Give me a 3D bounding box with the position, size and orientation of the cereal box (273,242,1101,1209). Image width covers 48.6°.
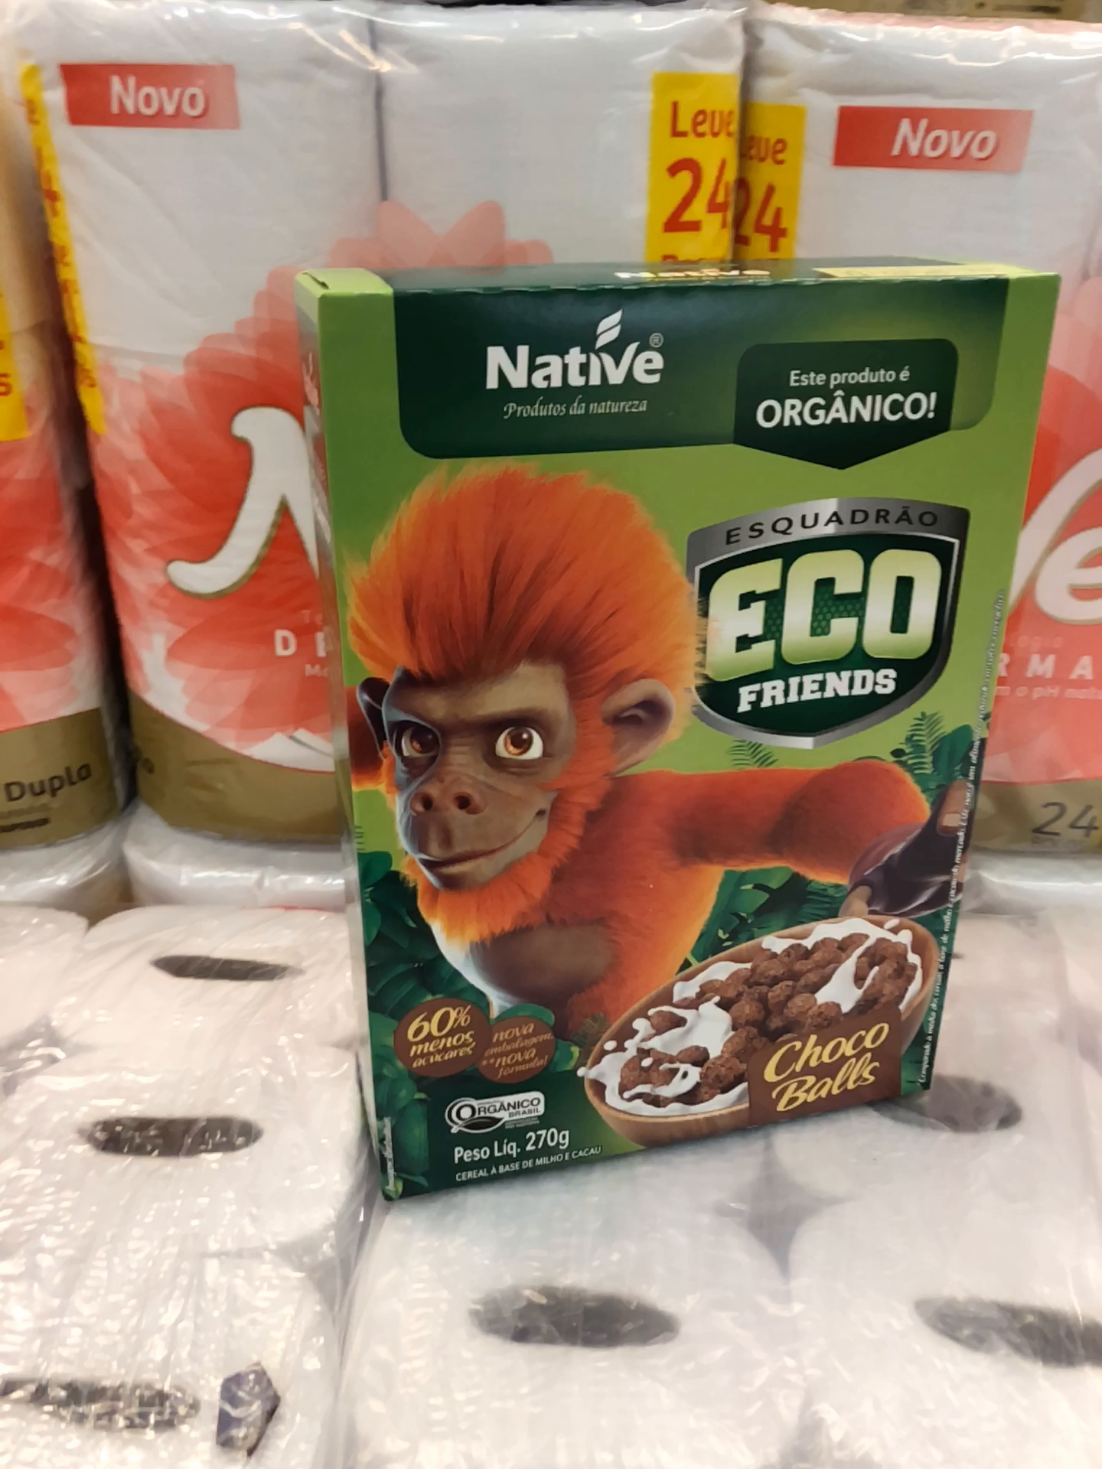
[{"bbox_3d":[0.031,-0.003,0.317,0.180,0.228,0.060,-6,24,-13],"label":"cereal box"}]
